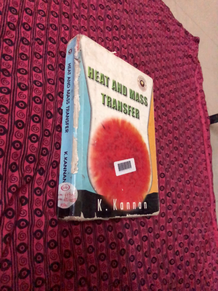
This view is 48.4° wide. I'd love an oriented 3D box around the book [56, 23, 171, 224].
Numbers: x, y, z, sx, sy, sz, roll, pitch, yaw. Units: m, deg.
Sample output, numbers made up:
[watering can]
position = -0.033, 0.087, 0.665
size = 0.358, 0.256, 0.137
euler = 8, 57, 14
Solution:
[book]
position = 0.017, -0.019, 0.362
size = 0.186, 0.039, 0.249
euler = 15, 69, -44
